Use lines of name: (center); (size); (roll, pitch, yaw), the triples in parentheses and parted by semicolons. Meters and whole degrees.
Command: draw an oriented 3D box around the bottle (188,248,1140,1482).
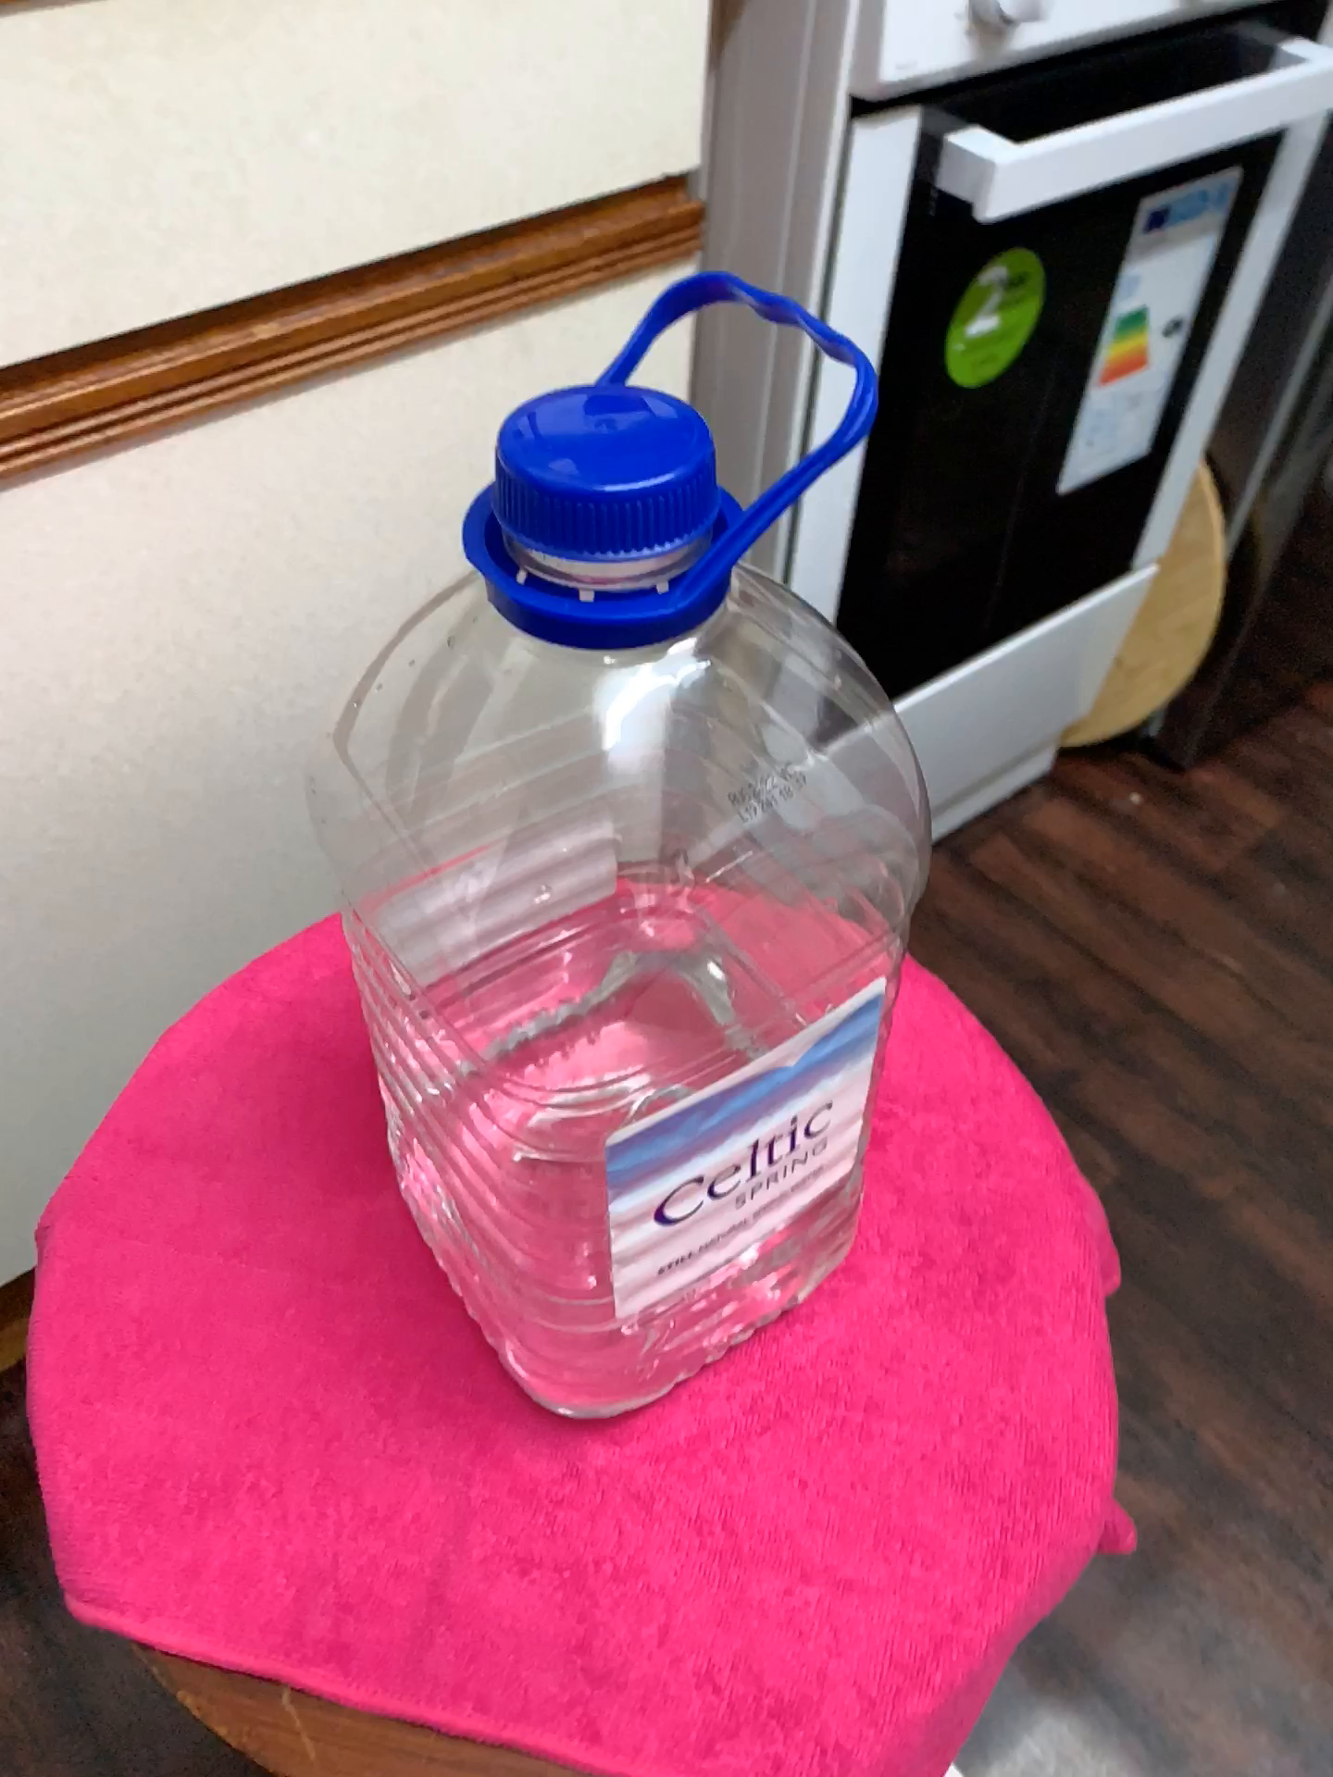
bottle: (-0.010, 0.016, 0.412); (0.150, 0.327, 0.141); (2, 47, -2)
